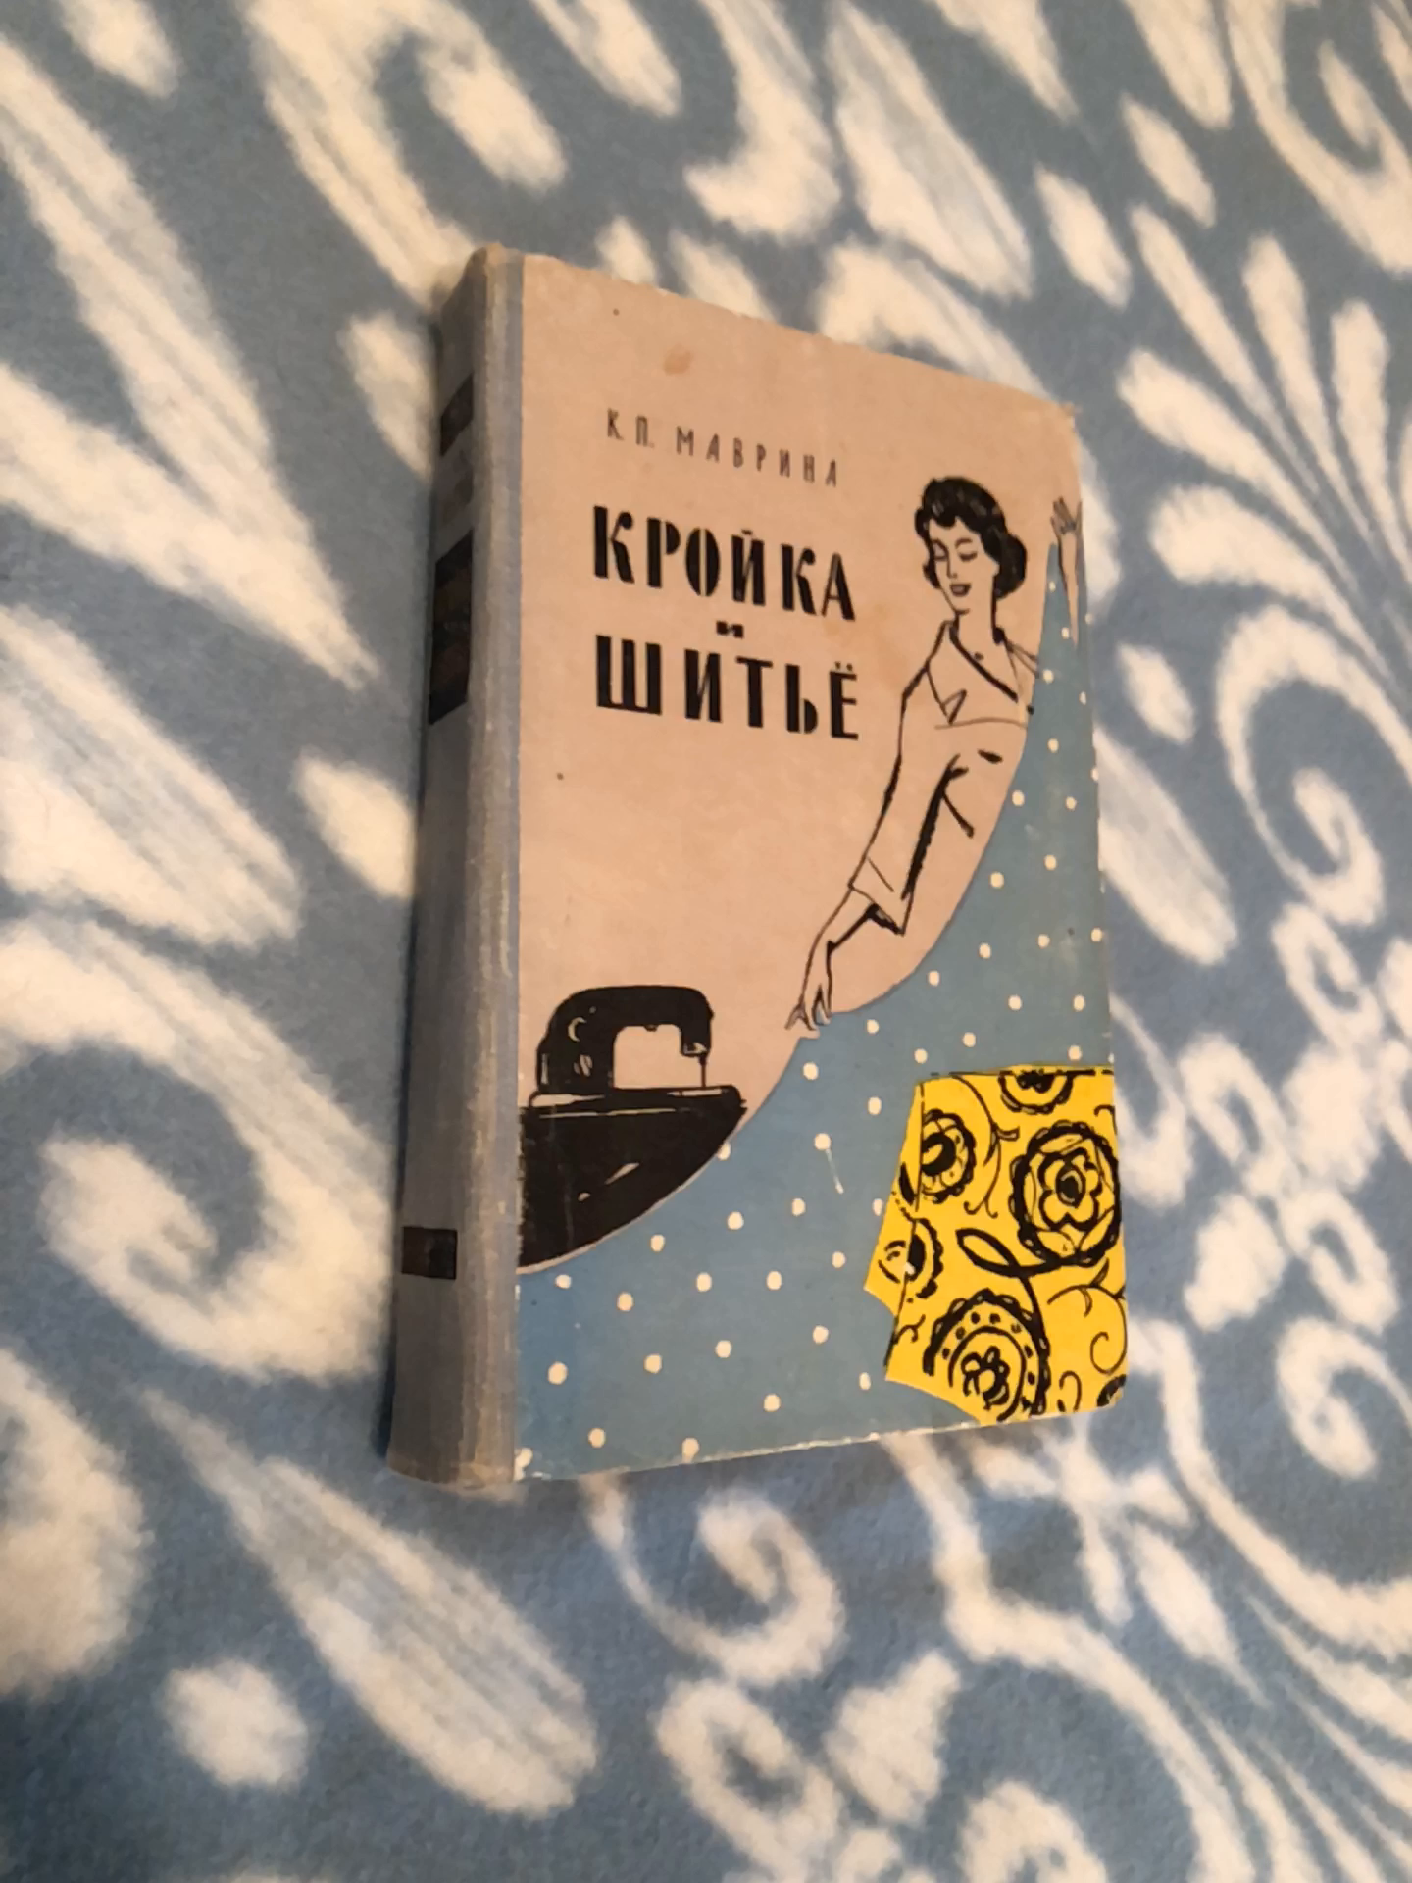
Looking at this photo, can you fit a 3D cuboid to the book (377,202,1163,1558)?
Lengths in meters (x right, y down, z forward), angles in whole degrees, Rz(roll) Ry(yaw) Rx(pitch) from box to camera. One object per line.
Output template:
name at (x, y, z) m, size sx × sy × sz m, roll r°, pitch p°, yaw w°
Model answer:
book at (0.016, -0.011, 0.315) m, size 0.152 × 0.037 × 0.231 m, roll 4°, pitch 81°, yaw -28°
